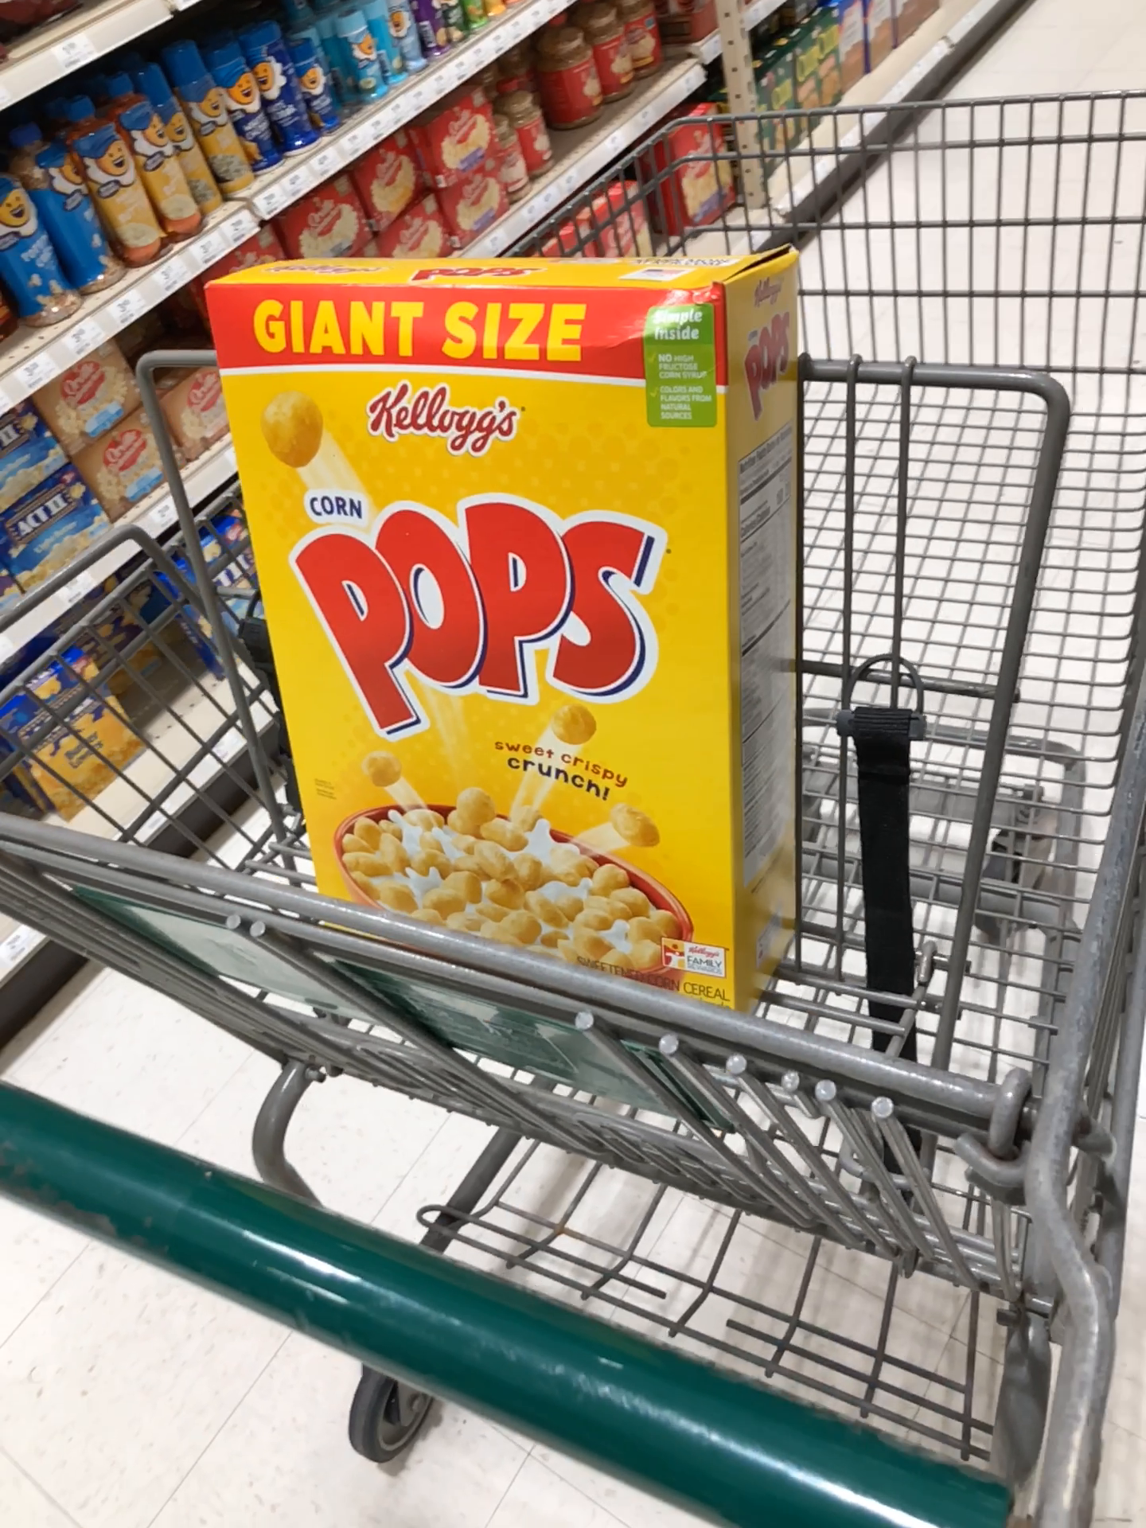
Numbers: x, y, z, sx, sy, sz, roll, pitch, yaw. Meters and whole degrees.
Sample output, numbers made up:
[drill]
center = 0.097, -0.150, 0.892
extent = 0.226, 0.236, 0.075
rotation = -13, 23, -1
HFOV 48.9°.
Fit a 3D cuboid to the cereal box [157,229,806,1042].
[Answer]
[cereal box]
center = -0.030, -0.057, 0.574
extent = 0.250, 0.329, 0.080
rotation = 10, 32, 26
